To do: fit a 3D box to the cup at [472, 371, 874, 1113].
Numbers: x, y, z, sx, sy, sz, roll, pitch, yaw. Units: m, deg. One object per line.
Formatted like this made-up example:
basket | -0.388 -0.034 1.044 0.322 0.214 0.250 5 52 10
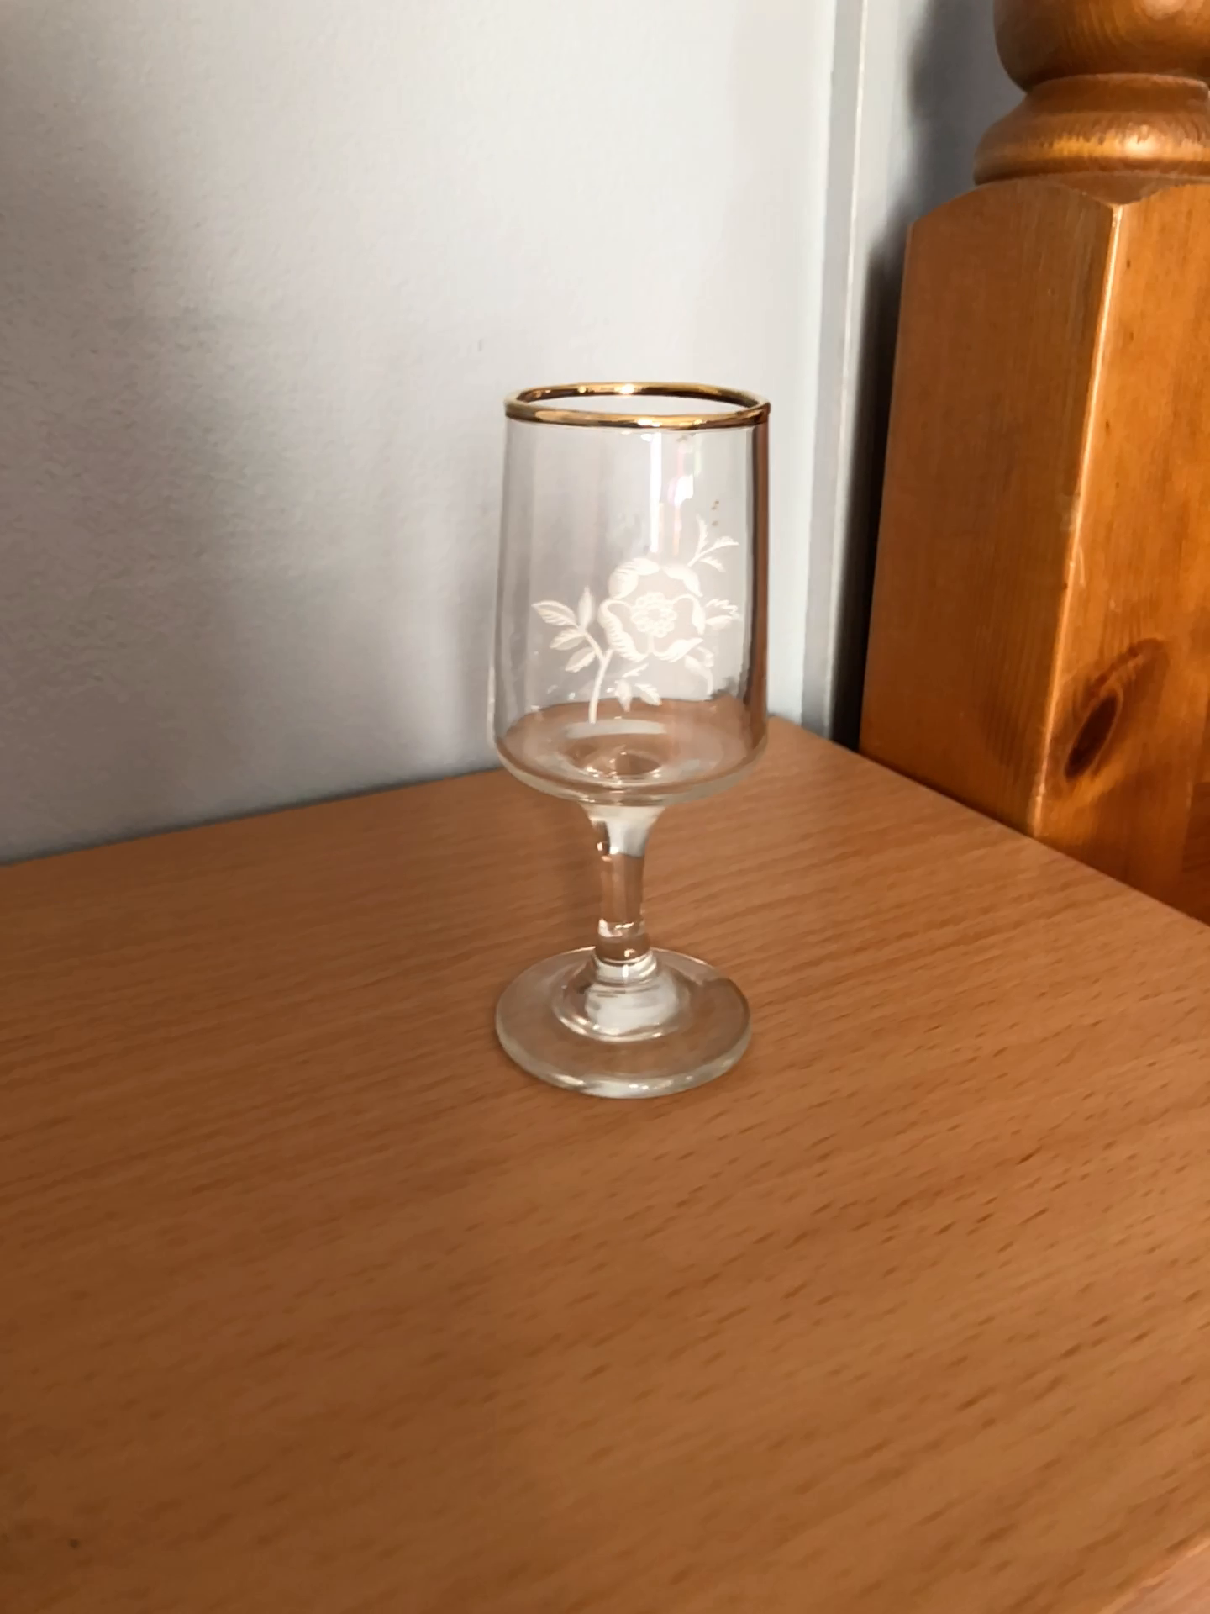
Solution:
cup | 0.007 -0.012 0.221 0.052 0.108 0.056 1 22 0
